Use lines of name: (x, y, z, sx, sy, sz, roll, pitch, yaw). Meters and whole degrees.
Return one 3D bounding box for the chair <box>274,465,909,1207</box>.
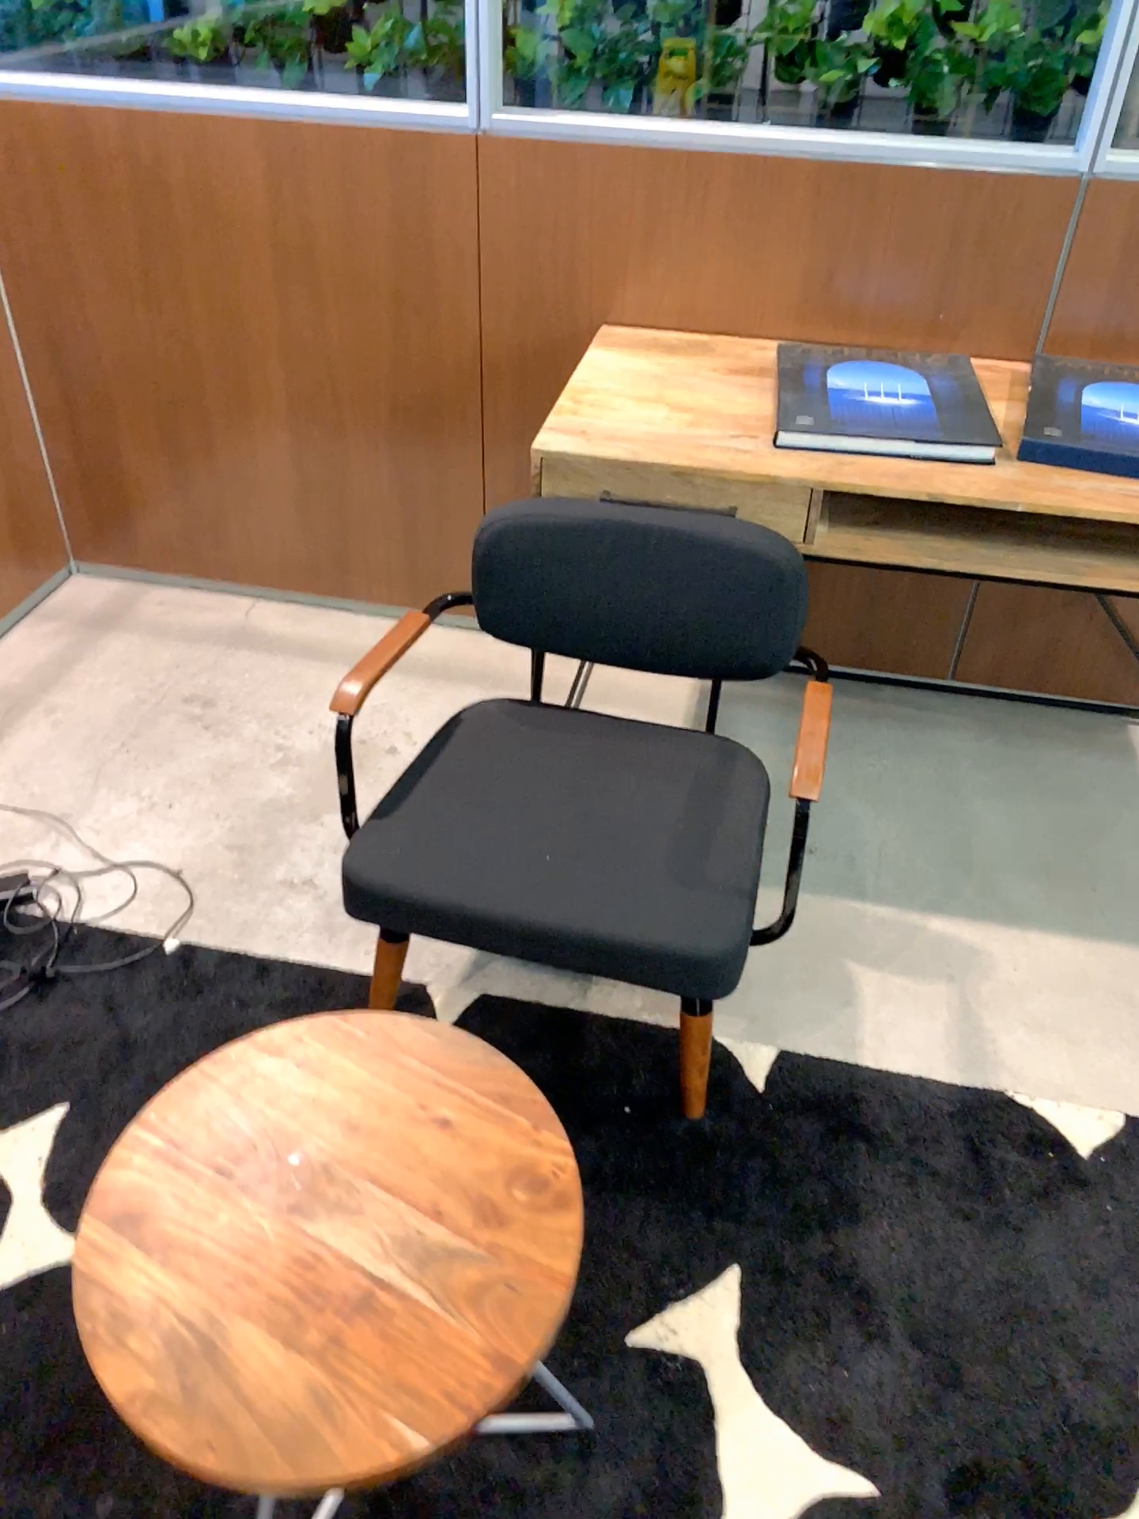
chair: (0.065, 0.108, 1.868, 0.751, 0.875, 0.613, 10, 38, 11)
